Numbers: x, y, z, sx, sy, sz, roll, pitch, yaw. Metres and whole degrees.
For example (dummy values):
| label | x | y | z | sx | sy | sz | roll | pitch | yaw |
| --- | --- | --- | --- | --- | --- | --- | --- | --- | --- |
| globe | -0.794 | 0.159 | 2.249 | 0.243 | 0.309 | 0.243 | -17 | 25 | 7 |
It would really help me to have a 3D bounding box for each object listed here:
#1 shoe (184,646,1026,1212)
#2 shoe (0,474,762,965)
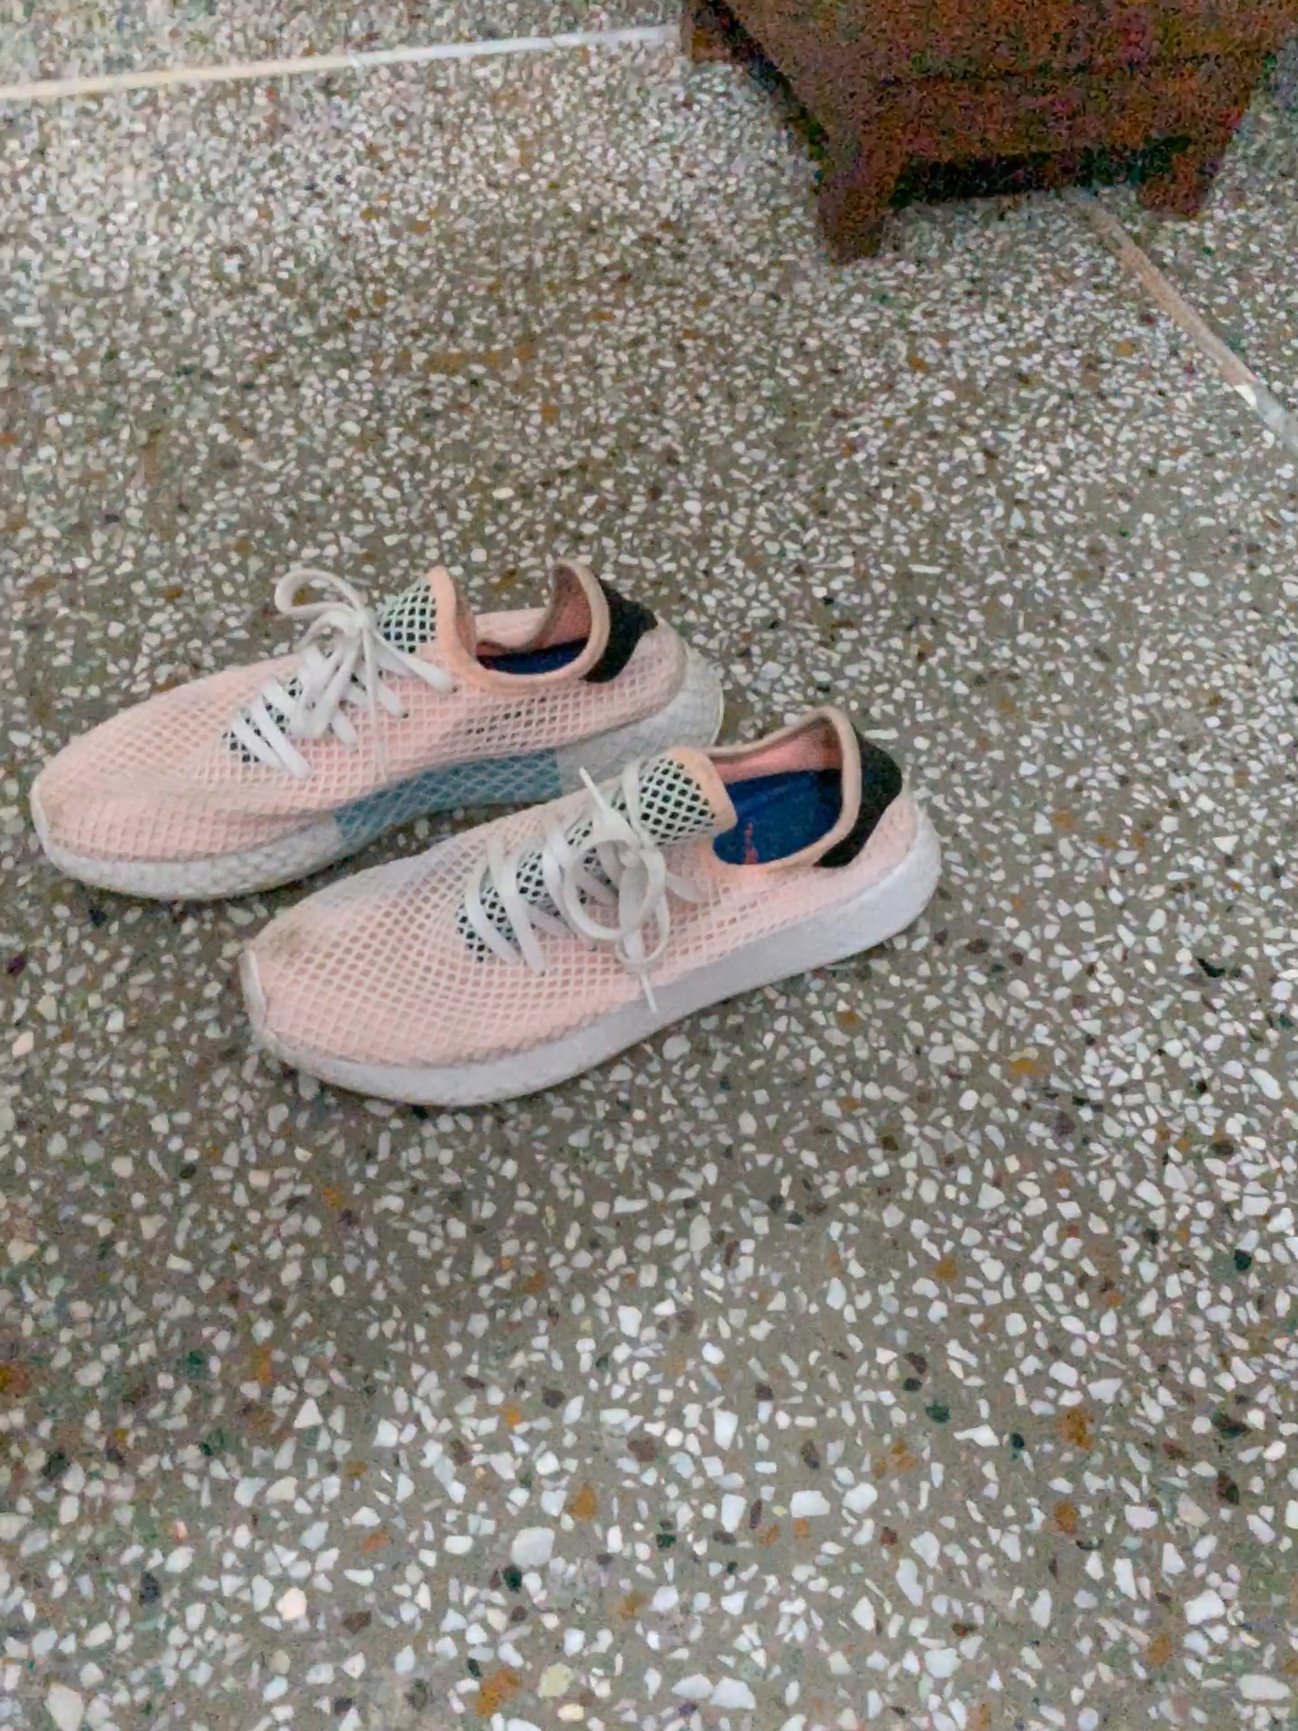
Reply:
| label | x | y | z | sx | sy | sz | roll | pitch | yaw |
| --- | --- | --- | --- | --- | --- | --- | --- | --- | --- |
| shoe | -0.018 | 0.021 | 0.566 | 0.310 | 0.100 | 0.122 | -17 | 59 | -16 |
| shoe | -0.121 | -0.072 | 0.606 | 0.310 | 0.100 | 0.122 | -15 | 59 | -14 |
